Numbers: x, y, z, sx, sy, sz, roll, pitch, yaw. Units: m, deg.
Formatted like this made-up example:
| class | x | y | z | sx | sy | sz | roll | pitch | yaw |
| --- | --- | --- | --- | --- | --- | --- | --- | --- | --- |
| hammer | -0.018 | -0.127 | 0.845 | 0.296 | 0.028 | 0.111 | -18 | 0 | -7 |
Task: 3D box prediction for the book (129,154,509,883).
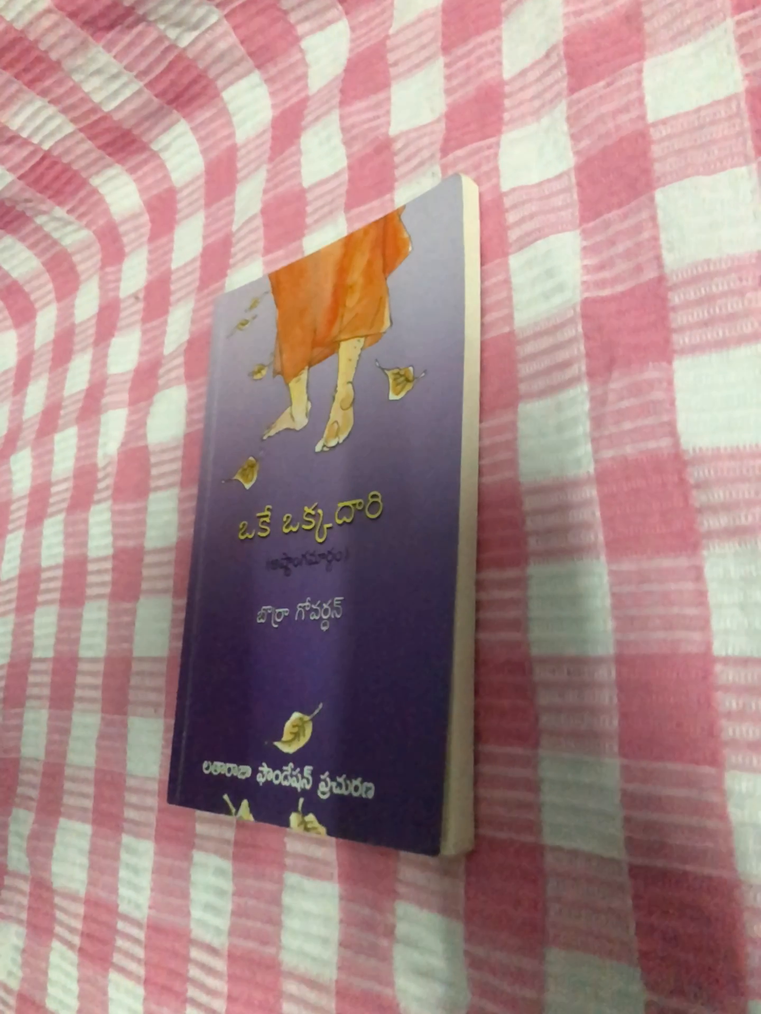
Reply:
| class | x | y | z | sx | sy | sz | roll | pitch | yaw |
| --- | --- | --- | --- | --- | --- | --- | --- | --- | --- |
| book | -0.026 | 0.004 | 0.294 | 0.150 | 0.020 | 0.210 | -9 | 72 | 42 |
